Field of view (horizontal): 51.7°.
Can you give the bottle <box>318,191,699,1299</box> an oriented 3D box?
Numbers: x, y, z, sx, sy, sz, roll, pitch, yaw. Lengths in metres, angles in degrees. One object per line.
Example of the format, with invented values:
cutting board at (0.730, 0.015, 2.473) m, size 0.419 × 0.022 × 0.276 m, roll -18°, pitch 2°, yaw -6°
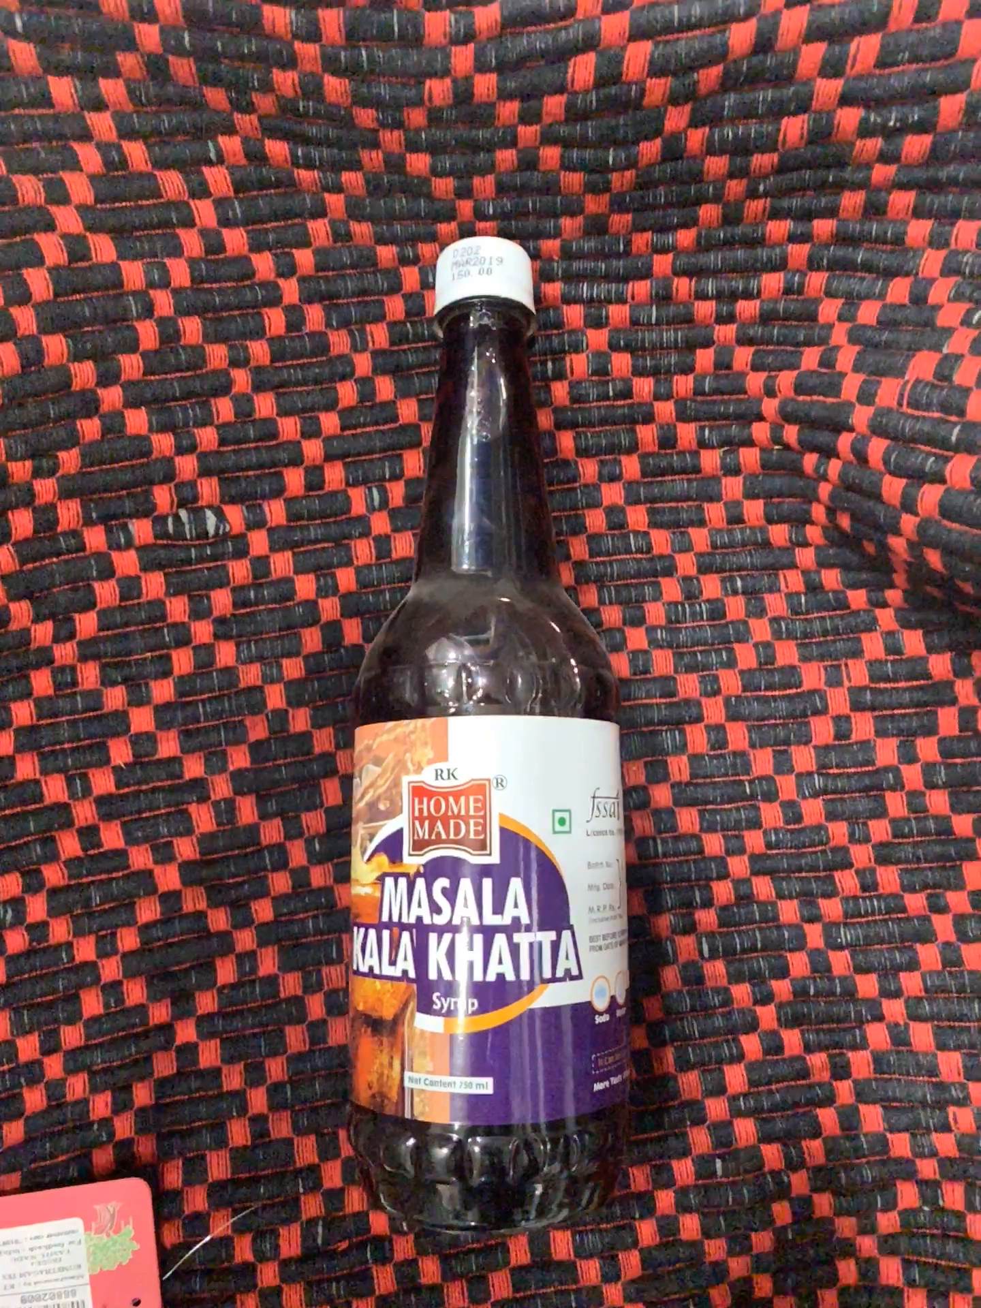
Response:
bottle at (0.002, 0.016, 0.278) m, size 0.080 × 0.080 × 0.260 m, roll -2°, pitch 78°, yaw 3°
